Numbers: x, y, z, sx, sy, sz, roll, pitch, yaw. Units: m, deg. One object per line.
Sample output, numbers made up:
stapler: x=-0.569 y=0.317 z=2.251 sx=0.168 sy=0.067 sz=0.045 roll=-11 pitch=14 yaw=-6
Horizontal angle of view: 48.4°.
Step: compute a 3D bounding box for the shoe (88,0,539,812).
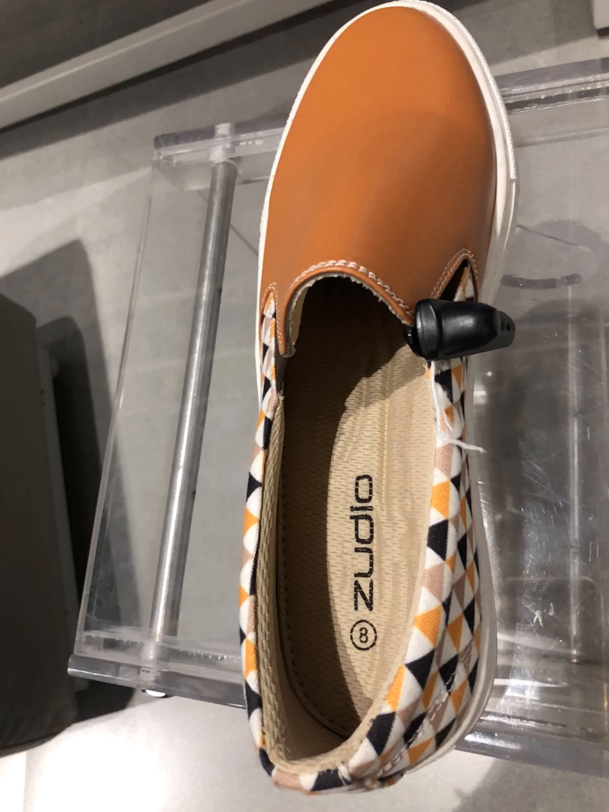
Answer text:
shoe: x=0.020 y=-0.023 z=0.244 sx=0.110 sy=0.100 sz=0.290 roll=-2 pitch=74 yaw=22
